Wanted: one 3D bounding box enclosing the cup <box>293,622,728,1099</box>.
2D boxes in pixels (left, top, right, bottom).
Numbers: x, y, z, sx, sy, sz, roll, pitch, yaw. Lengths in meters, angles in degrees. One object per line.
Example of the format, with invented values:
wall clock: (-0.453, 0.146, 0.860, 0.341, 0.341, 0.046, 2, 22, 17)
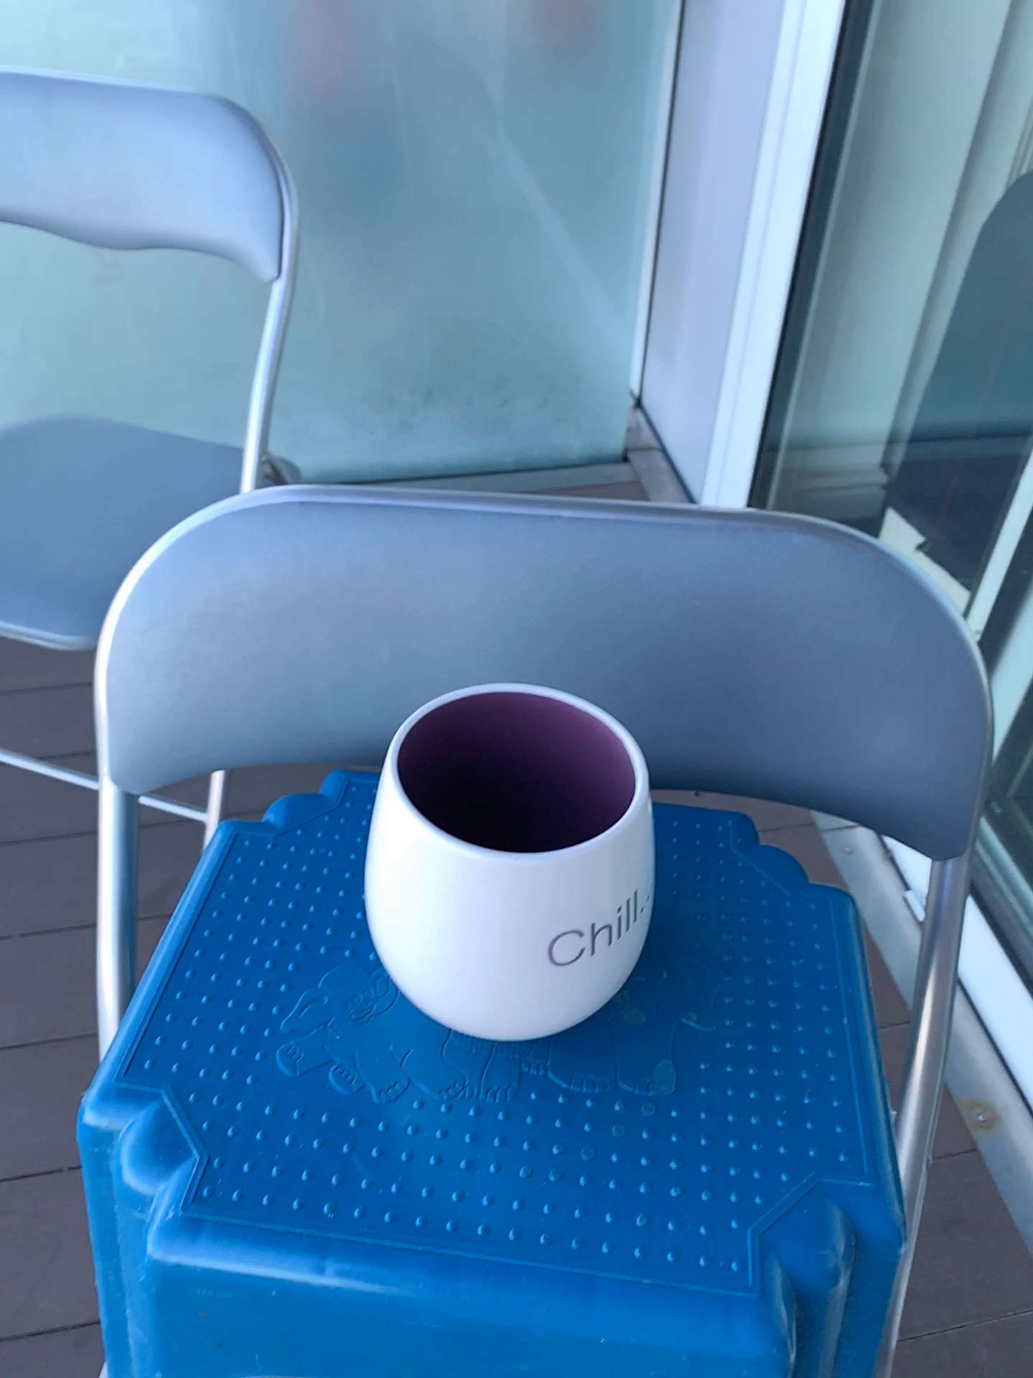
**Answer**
cup: (-0.002, 0.057, 0.395, 0.105, 0.089, 0.111, 3, 39, -2)
